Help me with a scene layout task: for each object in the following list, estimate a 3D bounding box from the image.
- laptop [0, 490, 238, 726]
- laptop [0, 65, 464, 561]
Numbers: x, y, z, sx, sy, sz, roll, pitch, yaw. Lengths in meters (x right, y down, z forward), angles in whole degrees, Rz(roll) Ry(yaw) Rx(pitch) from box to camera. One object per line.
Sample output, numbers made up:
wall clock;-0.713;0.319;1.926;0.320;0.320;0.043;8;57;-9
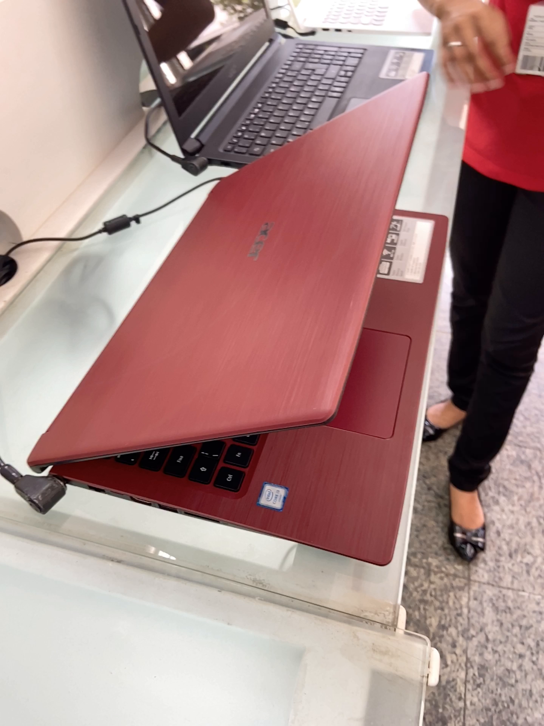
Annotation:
laptop;-0.247;0.268;0.070;0.377;0.216;0.355;11;47;13
laptop;0.005;-0.083;0.440;0.236;0.132;0.381;10;49;13
